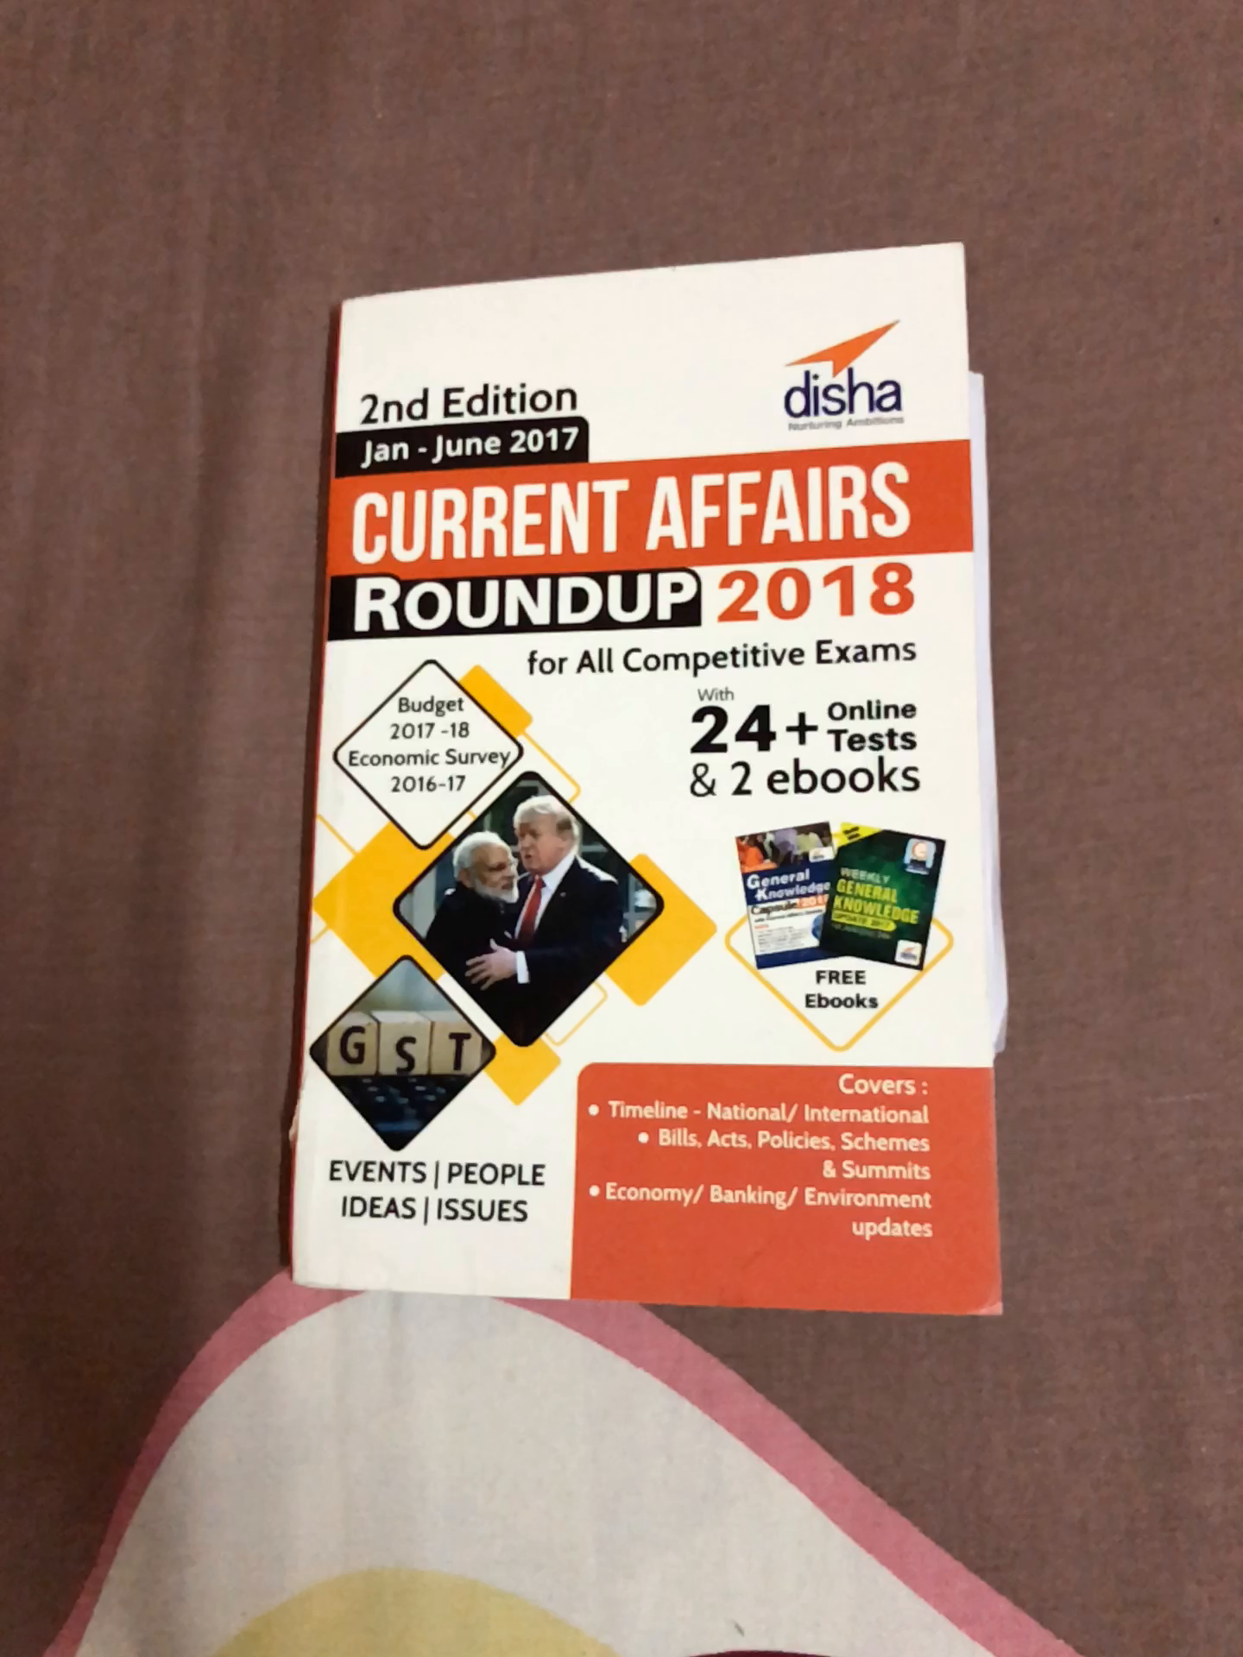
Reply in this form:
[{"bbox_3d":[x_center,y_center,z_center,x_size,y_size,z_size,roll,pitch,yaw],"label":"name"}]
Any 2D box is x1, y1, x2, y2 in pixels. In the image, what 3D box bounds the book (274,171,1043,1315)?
[{"bbox_3d":[0.009,-0.020,0.290,0.140,0.040,0.220,-1,79,10],"label":"book"}]
